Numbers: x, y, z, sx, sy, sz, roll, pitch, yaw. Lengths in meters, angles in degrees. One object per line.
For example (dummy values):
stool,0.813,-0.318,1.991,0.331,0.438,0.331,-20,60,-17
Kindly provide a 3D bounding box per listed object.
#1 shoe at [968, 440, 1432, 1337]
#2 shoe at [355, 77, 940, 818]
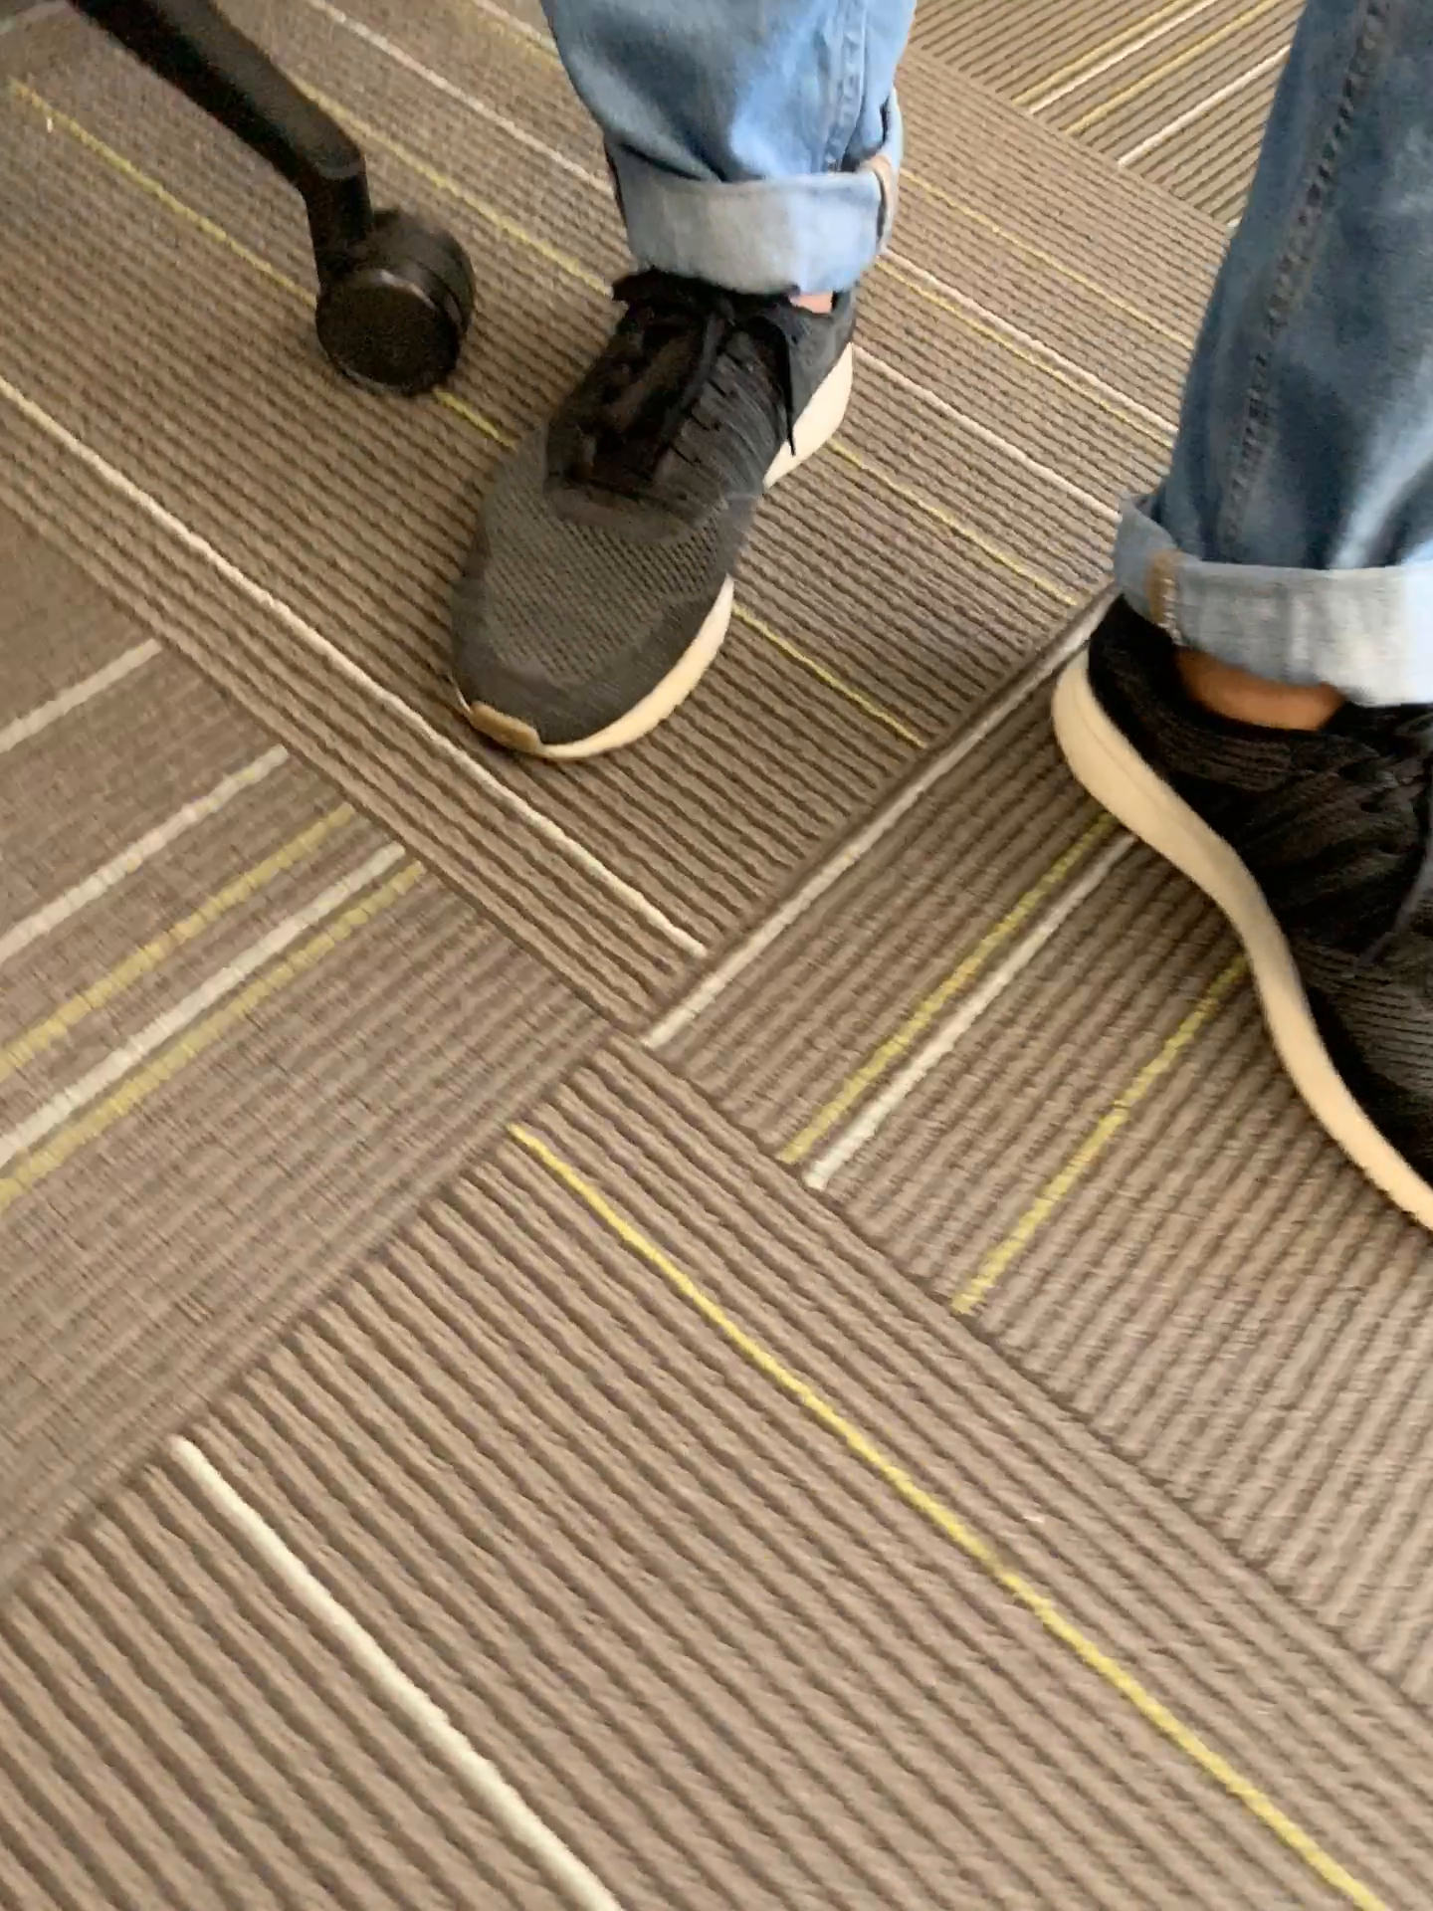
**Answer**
shoe,0.238,-0.035,0.542,0.112,0.106,0.307,-24,66,-19
shoe,-0.018,-0.221,0.610,0.110,0.106,0.307,23,60,6
